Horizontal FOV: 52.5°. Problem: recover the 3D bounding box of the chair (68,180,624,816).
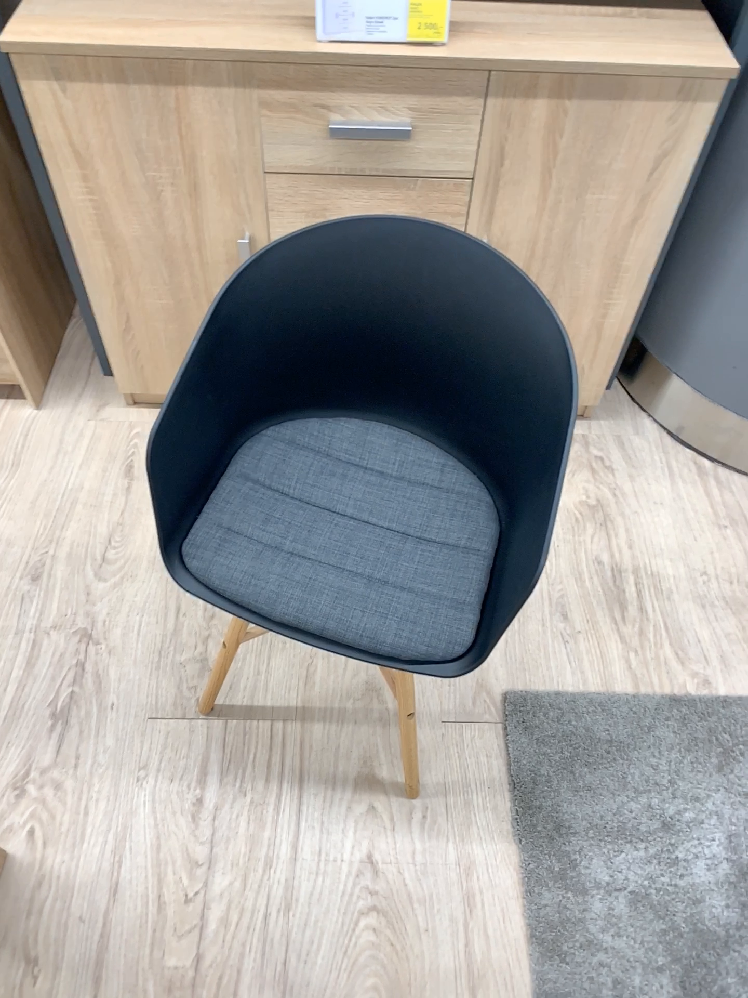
[{"bbox_3d":[-0.004,0.045,1.225,0.510,0.787,0.552,16,54,10],"label":"chair"}]
